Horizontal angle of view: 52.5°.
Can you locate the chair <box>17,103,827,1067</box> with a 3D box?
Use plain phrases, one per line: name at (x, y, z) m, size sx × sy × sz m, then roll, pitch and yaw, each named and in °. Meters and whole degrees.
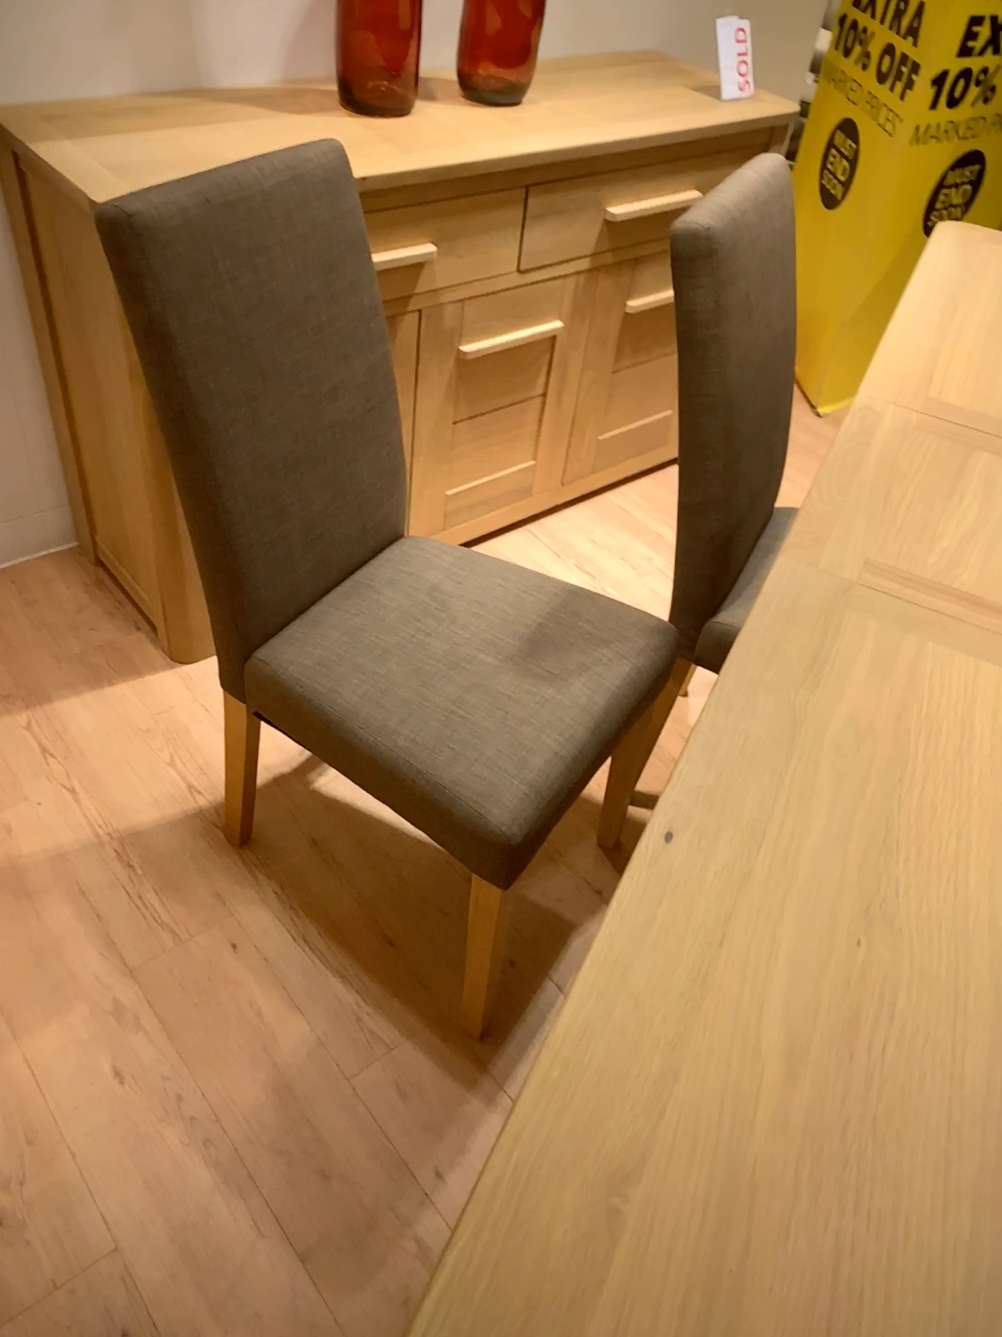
chair at (-0.105, -0.083, 1.300) m, size 0.612 × 0.951 × 0.493 m, roll 27°, pitch 45°, yaw 20°
